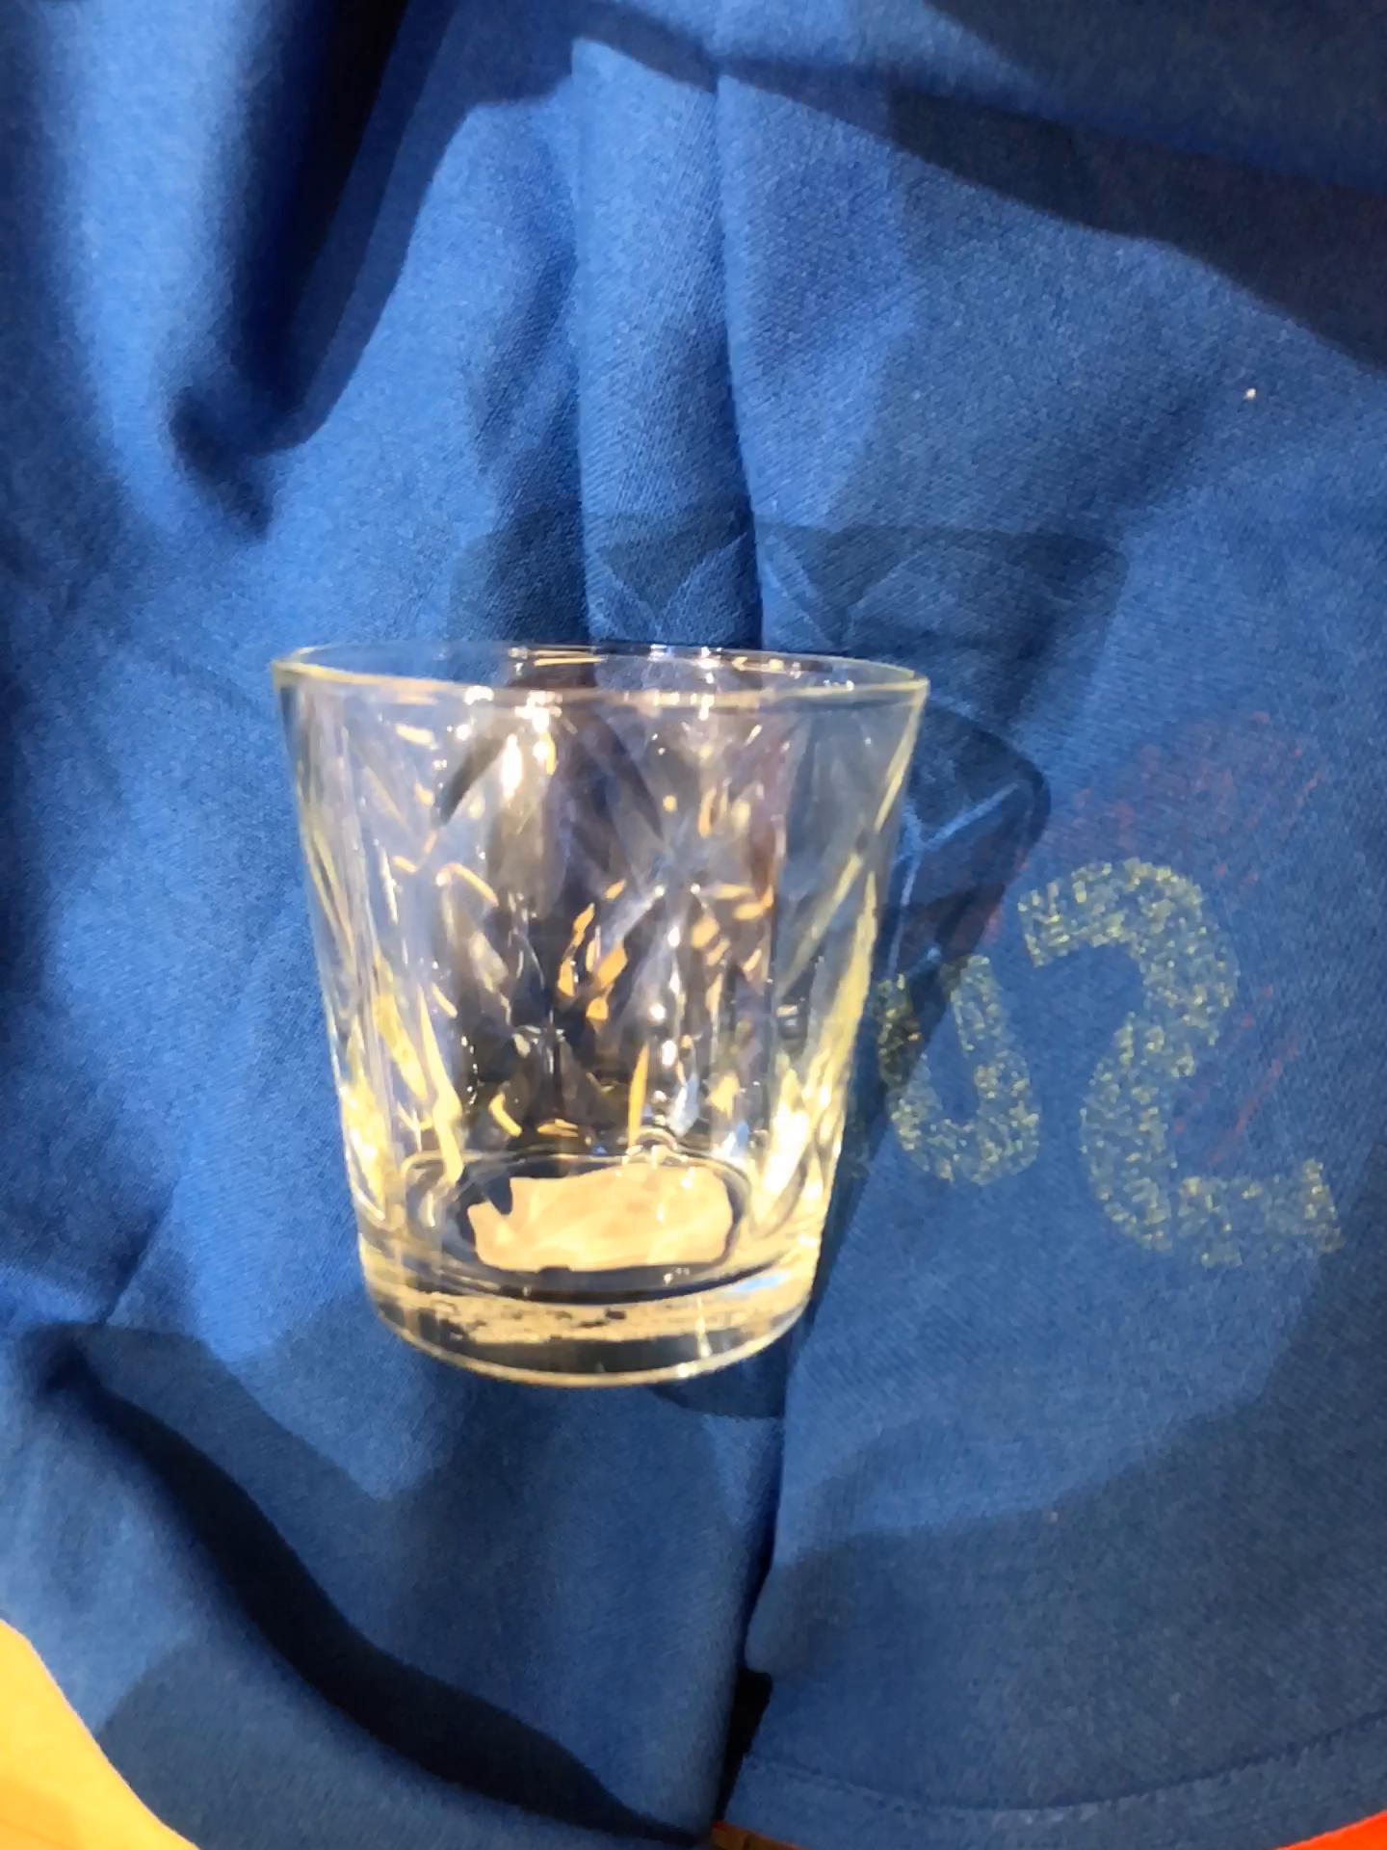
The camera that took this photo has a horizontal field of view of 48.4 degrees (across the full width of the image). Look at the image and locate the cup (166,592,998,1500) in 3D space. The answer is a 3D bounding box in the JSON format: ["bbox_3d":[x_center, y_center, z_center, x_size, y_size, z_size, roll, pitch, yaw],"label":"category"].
[{"bbox_3d":[-0.009,0.007,0.202,0.080,0.070,0.090,7,108,19],"label":"cup"}]
